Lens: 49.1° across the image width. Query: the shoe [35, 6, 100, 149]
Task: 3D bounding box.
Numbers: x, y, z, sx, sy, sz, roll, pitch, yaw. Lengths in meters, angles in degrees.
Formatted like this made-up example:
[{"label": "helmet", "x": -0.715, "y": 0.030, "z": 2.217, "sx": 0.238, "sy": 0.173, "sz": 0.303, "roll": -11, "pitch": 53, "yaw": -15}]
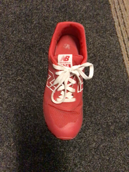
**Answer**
[{"label": "shoe", "x": 0.006, "y": -0.016, "z": 0.309, "sx": 0.100, "sy": 0.108, "sz": 0.257, "roll": 6, "pitch": 78, "yaw": -7}]
